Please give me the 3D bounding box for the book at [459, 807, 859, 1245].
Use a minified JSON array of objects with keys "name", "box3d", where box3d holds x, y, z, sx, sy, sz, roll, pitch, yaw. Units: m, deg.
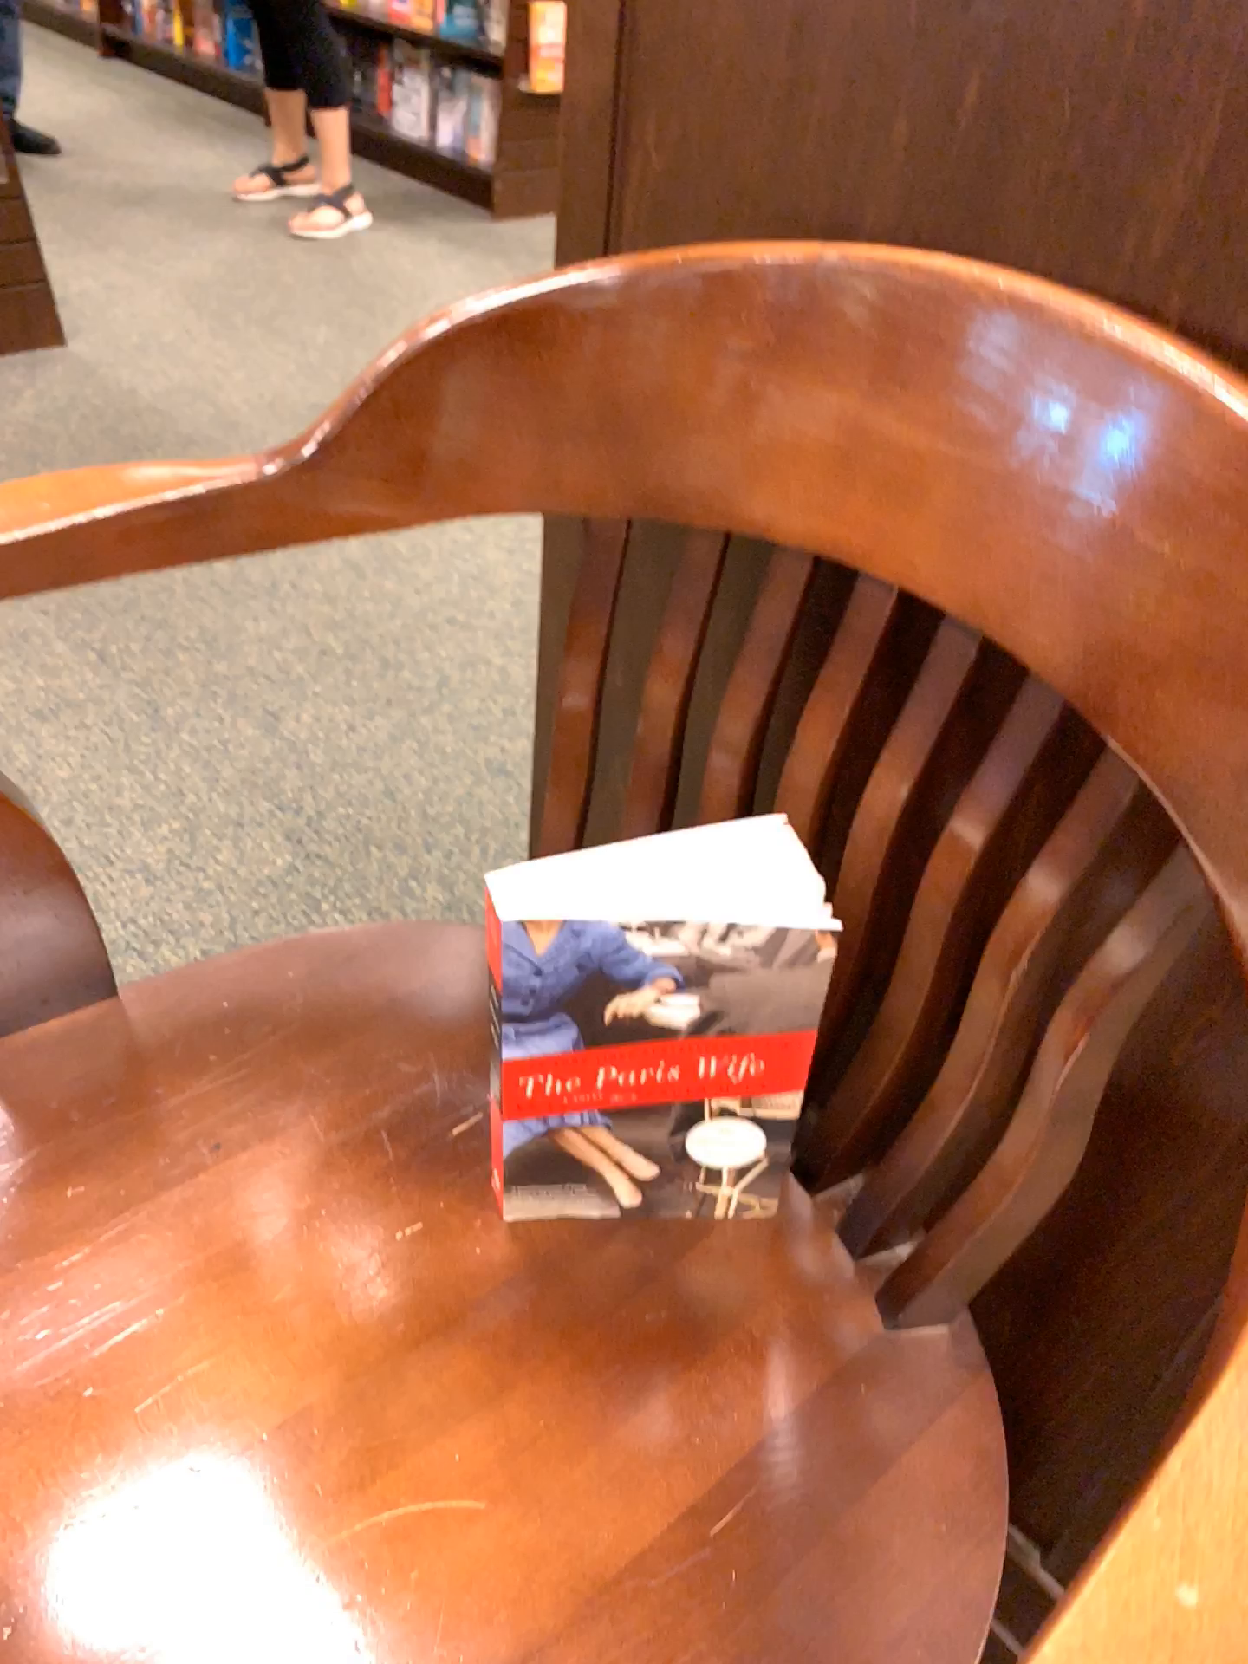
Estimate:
[{"name":"book","box3d":[0.003,0.091,0.575,0.150,0.199,0.072,-2,41,-10]}]
